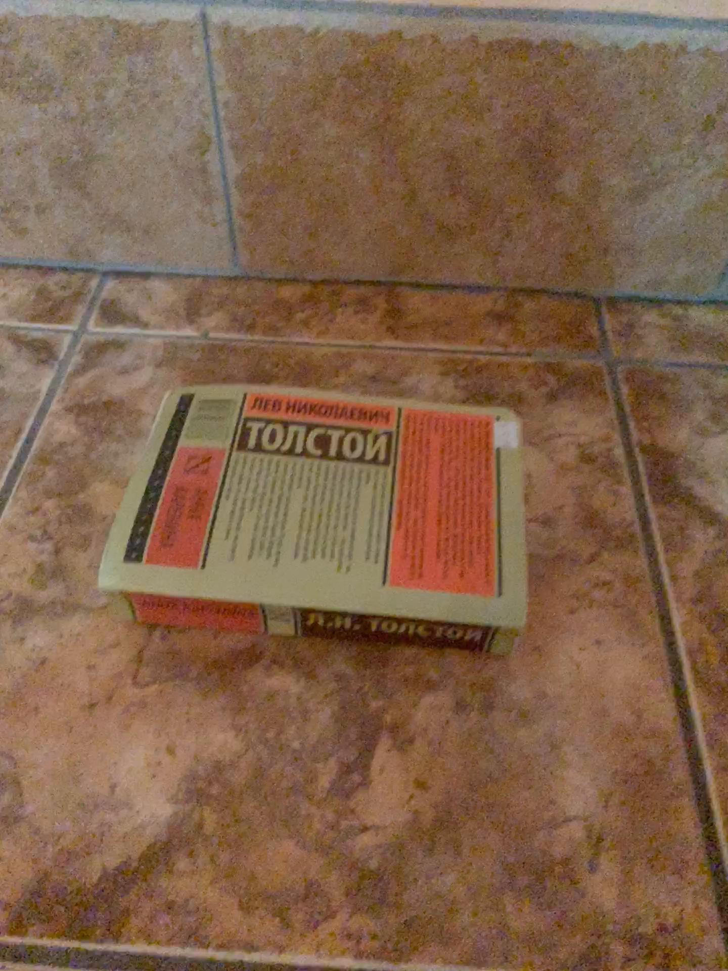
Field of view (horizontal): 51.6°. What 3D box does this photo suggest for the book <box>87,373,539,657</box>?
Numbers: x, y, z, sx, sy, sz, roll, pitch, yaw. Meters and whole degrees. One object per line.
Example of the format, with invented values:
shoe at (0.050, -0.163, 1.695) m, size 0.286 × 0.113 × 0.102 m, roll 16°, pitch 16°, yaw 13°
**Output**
book at (-0.018, 0.010, 0.361) m, size 0.185 × 0.044 × 0.120 m, roll 4°, pitch 51°, yaw 2°
